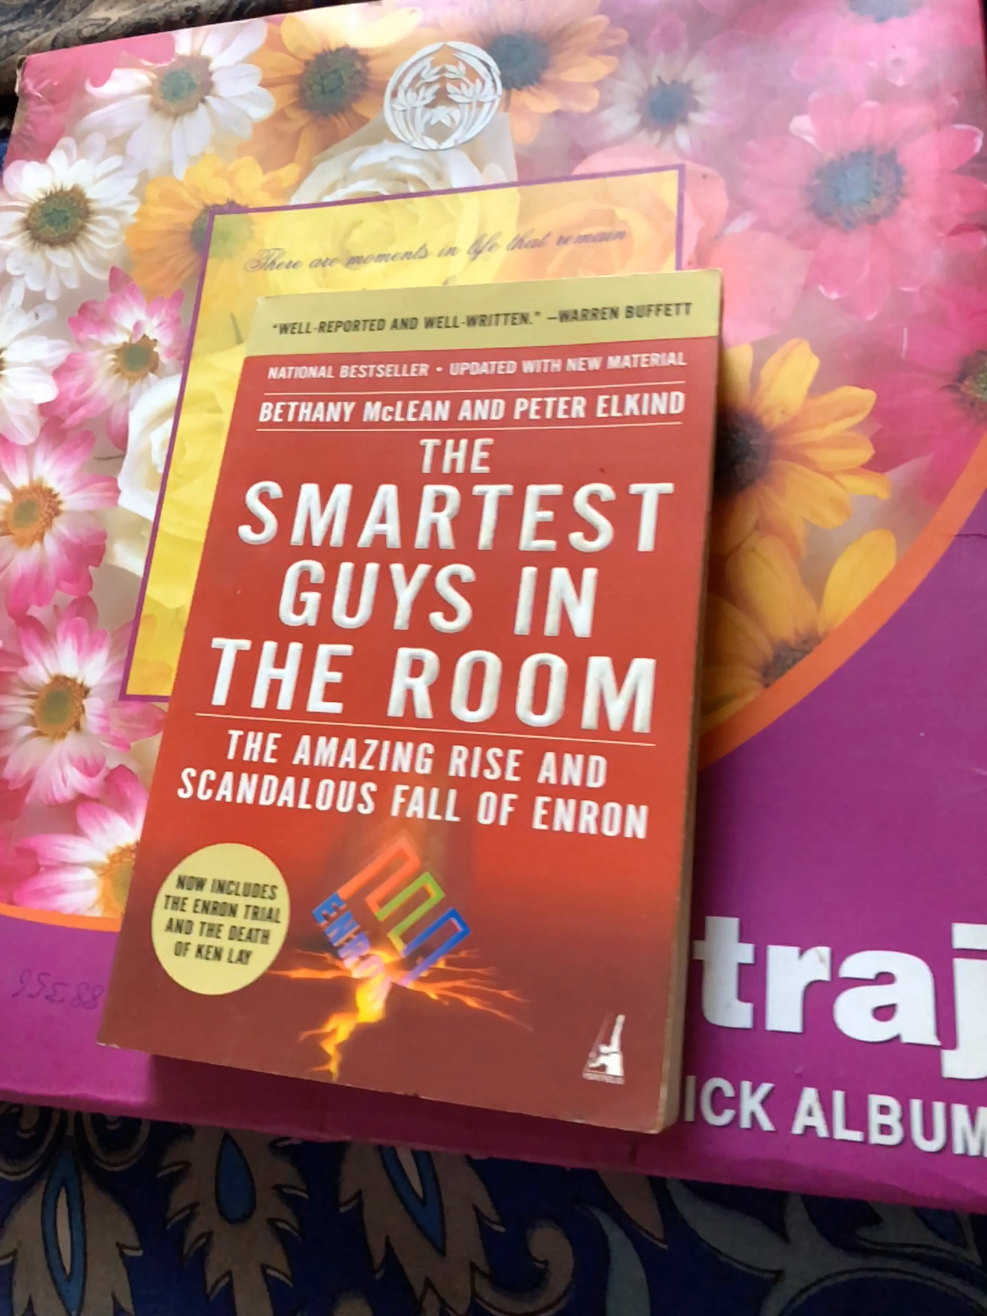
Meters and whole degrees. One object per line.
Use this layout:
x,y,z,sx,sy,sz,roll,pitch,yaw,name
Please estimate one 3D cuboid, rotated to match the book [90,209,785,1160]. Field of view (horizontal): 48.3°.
-0.008,-0.003,0.289,0.150,0.040,0.220,1,74,20,book
